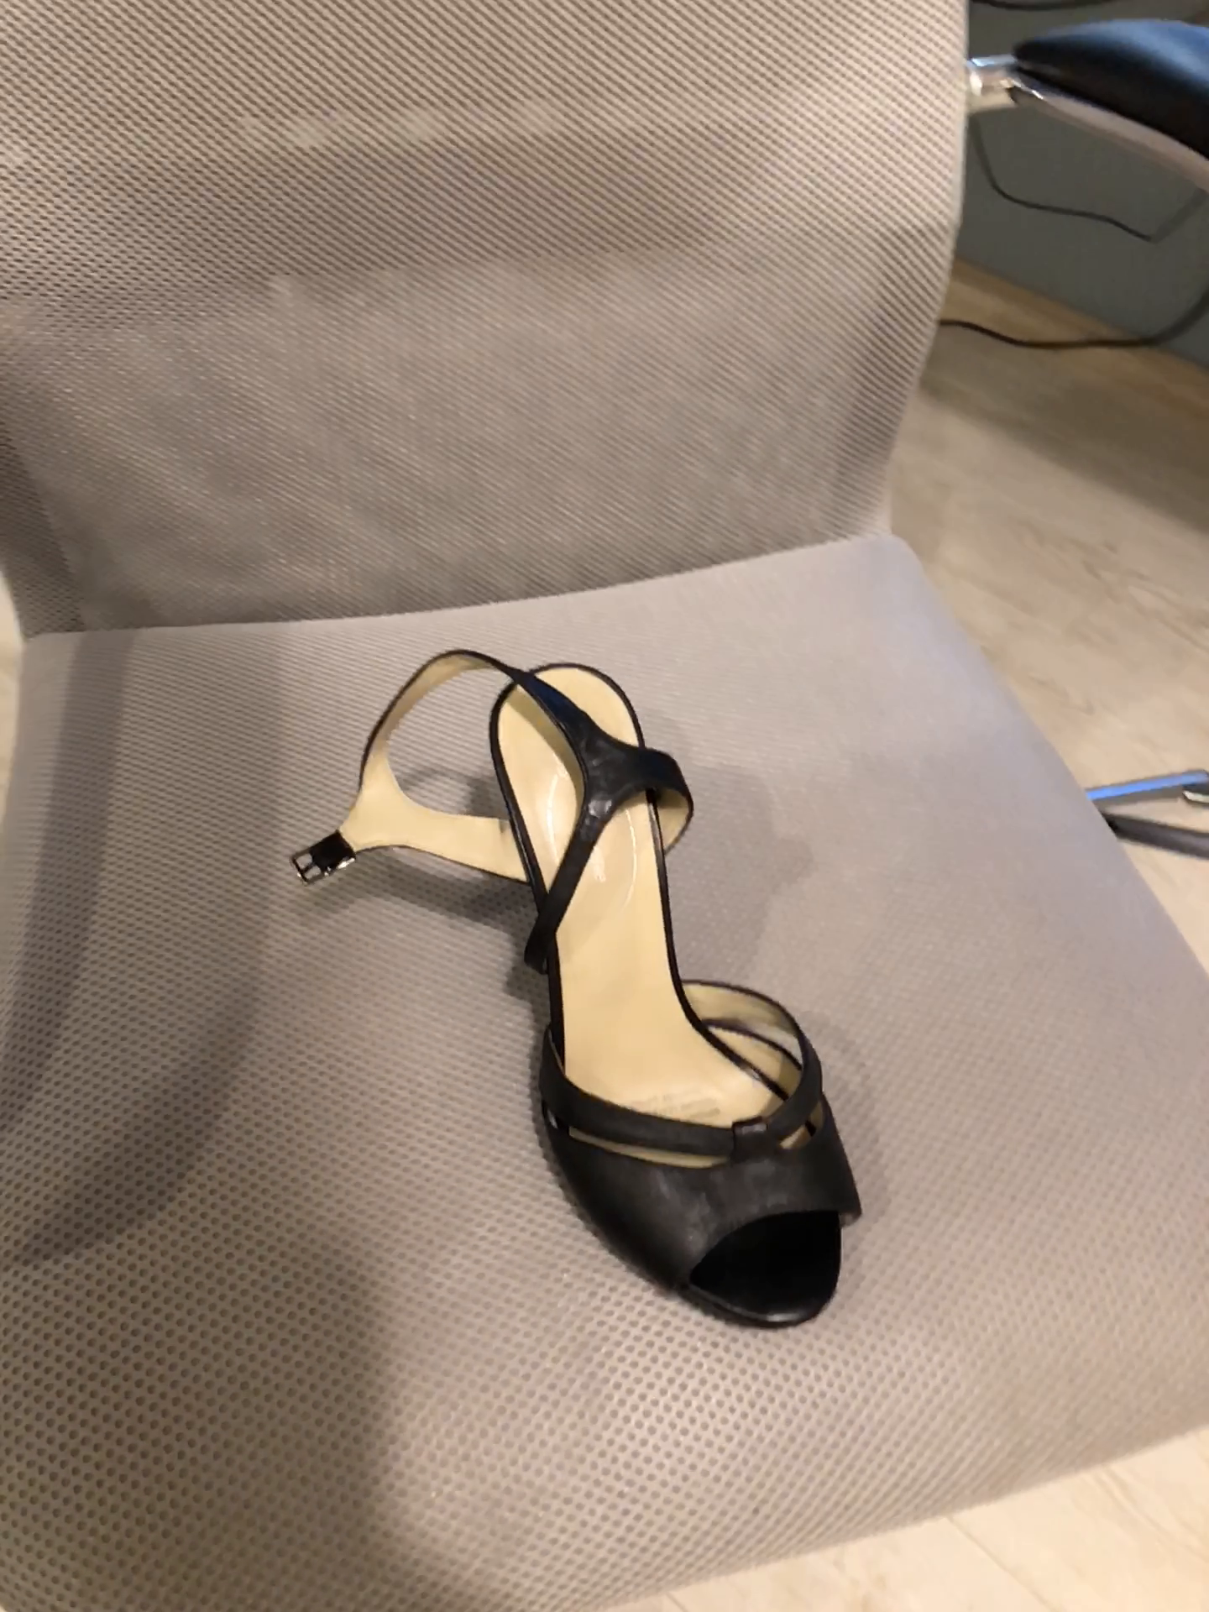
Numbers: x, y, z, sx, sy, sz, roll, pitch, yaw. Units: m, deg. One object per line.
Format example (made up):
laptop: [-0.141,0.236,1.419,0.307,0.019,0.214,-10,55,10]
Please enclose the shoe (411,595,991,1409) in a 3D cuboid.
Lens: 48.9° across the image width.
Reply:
shoe: [0.015,0.055,0.426,0.090,0.119,0.211,-15,53,-14]
